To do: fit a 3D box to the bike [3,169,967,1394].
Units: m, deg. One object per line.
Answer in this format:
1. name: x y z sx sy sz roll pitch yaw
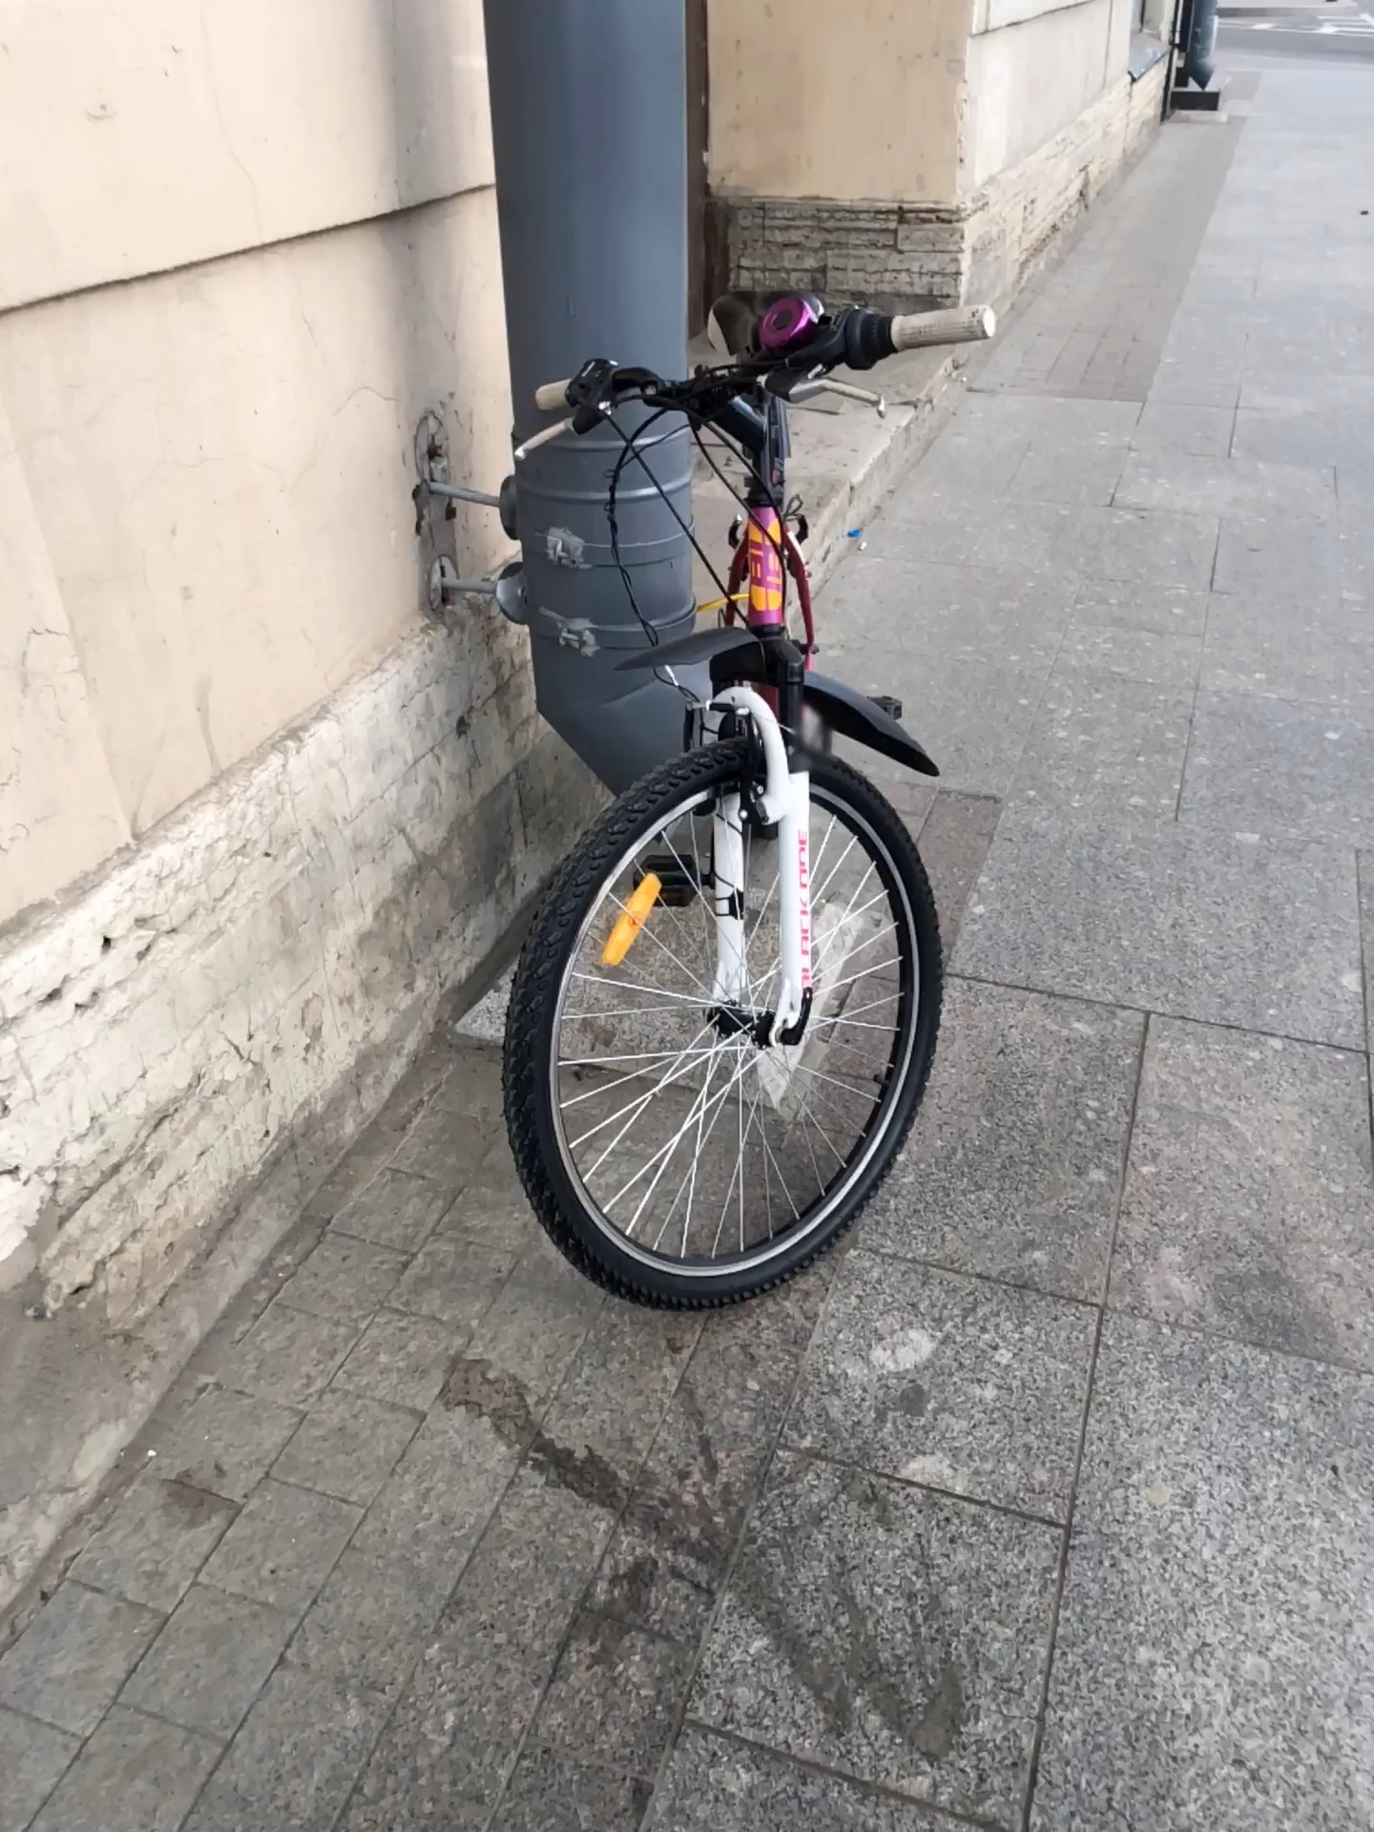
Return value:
1. bike: -0.031 -0.347 2.009 0.622 0.973 1.584 5 34 10
